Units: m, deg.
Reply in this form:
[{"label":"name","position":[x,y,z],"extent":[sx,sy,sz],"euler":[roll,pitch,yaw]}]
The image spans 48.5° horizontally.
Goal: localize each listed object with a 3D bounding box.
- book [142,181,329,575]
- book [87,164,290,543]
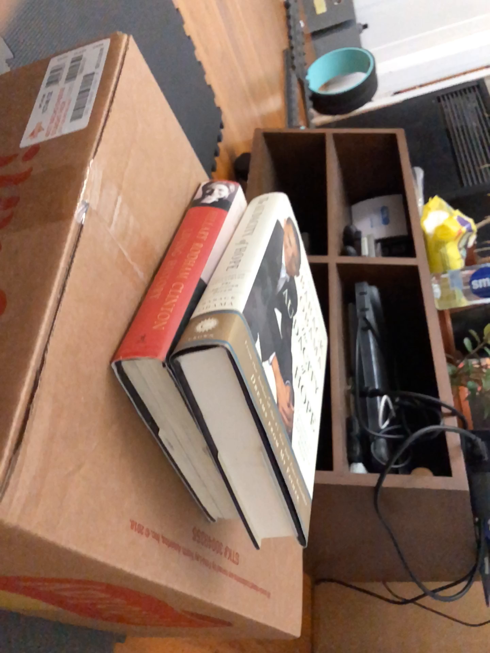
[{"label":"book","position":[0.017,0.021,0.425],"extent":[0.251,0.040,0.190],"euler":[-71,146,-56]},{"label":"book","position":[-0.018,0.006,0.425],"extent":[0.251,0.040,0.170],"euler":[-76,151,-50]}]
